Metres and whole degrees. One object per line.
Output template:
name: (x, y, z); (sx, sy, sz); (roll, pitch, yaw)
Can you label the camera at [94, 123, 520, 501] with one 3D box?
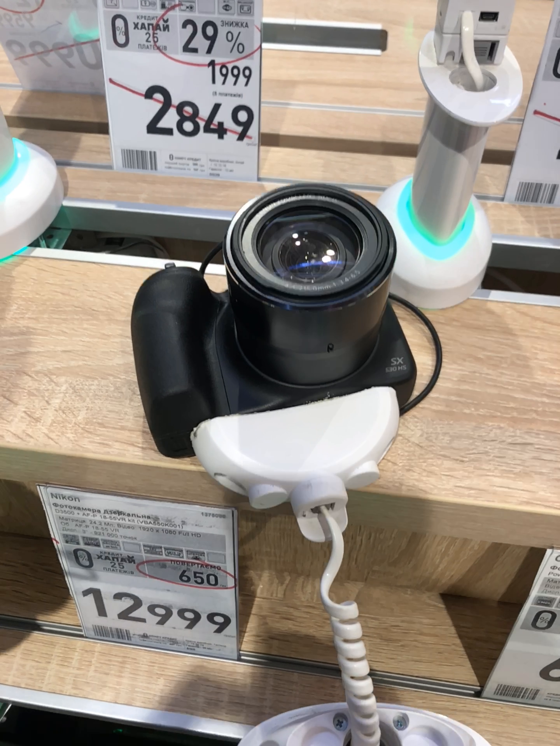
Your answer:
camera: (0.003, -0.026, 0.267); (0.133, 0.090, 0.107); (-11, 59, -8)
